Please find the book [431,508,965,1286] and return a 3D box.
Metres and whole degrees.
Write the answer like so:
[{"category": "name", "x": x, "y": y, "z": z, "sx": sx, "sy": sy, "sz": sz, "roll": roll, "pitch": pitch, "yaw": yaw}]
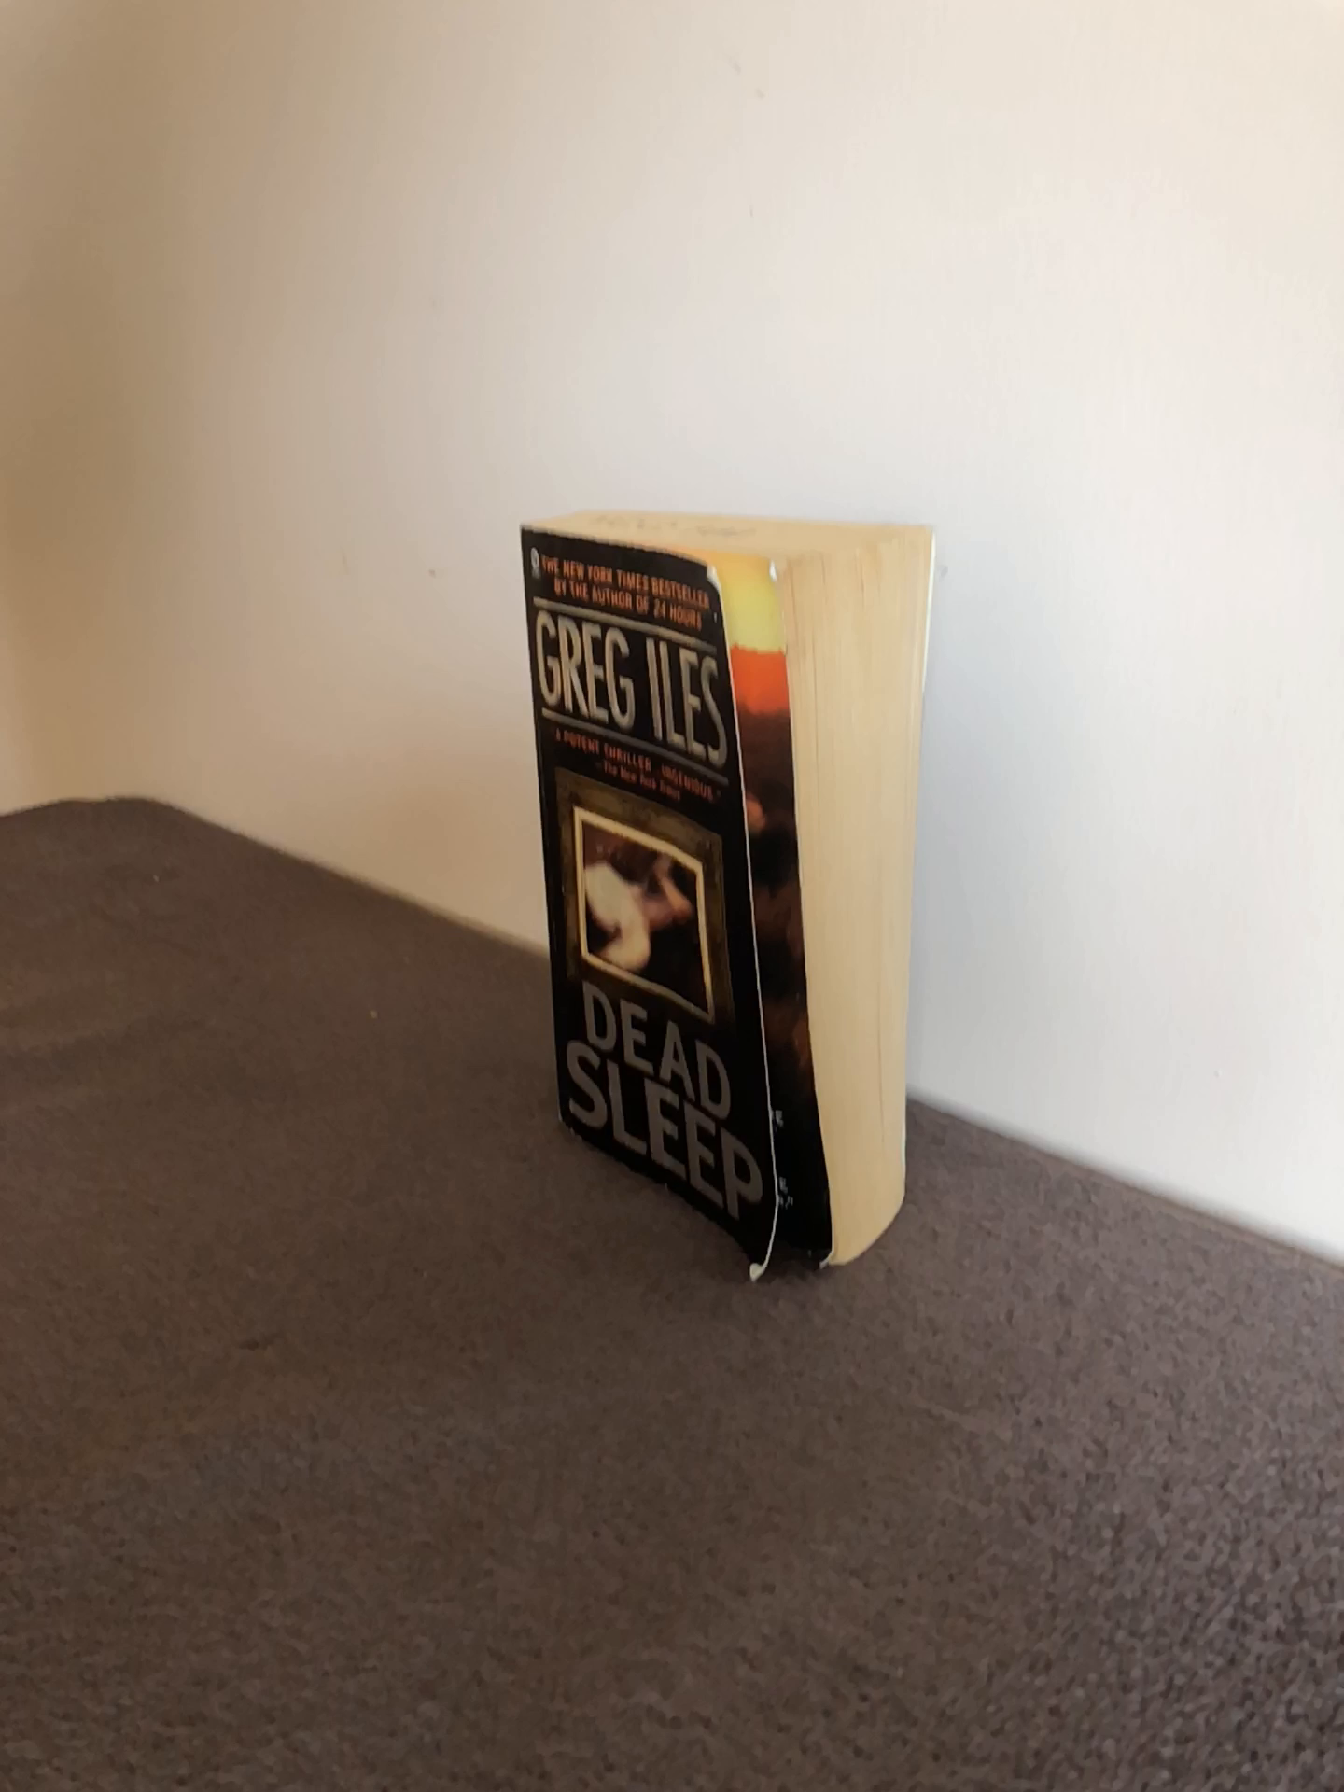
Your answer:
[{"category": "book", "x": 0.006, "y": -0.009, "z": 0.378, "sx": 0.061, "sy": 0.163, "sz": 0.123, "roll": -18, "pitch": 24, "yaw": -36}]
